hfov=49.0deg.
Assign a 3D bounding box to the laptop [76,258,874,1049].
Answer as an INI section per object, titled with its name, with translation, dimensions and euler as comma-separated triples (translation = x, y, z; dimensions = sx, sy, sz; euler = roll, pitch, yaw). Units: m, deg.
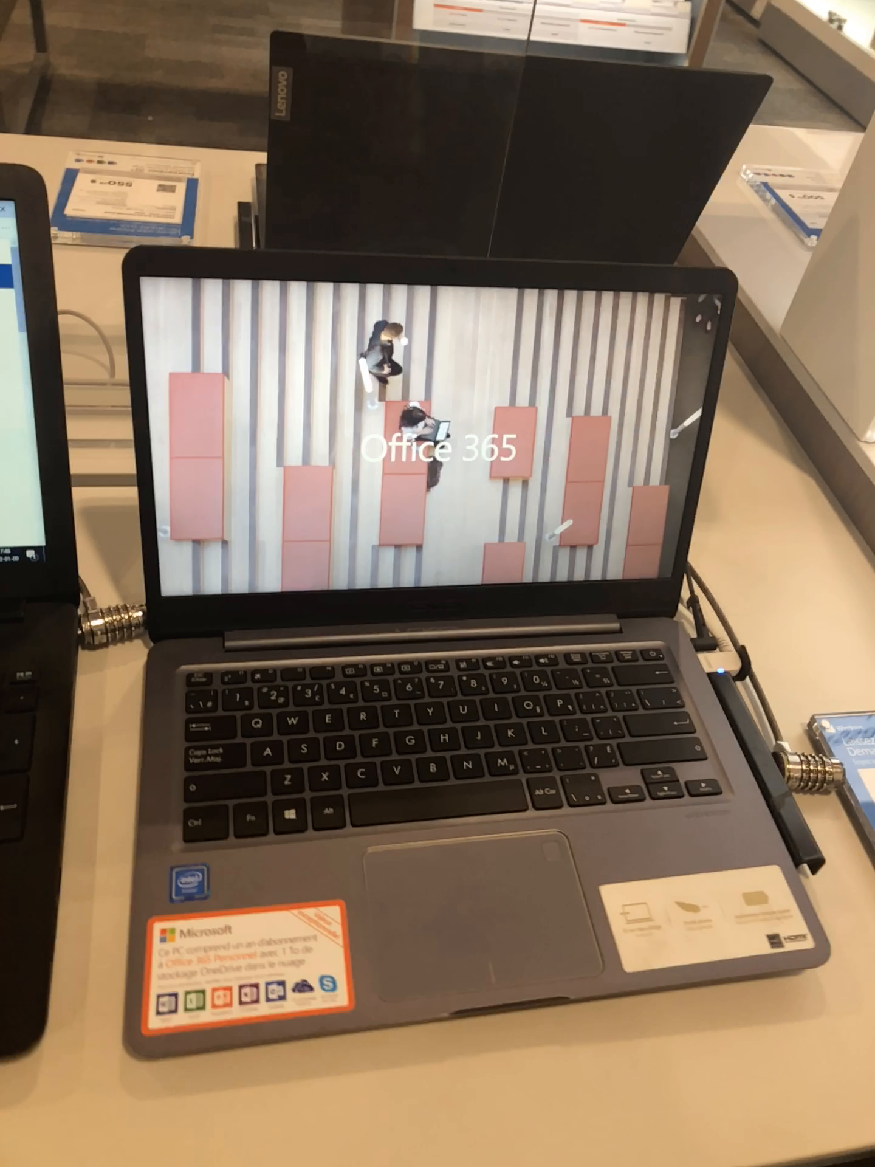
[laptop]
translation = 0.021, 0.011, 0.461
dimensions = 0.316, 0.196, 0.292
euler = -2, 46, -12
